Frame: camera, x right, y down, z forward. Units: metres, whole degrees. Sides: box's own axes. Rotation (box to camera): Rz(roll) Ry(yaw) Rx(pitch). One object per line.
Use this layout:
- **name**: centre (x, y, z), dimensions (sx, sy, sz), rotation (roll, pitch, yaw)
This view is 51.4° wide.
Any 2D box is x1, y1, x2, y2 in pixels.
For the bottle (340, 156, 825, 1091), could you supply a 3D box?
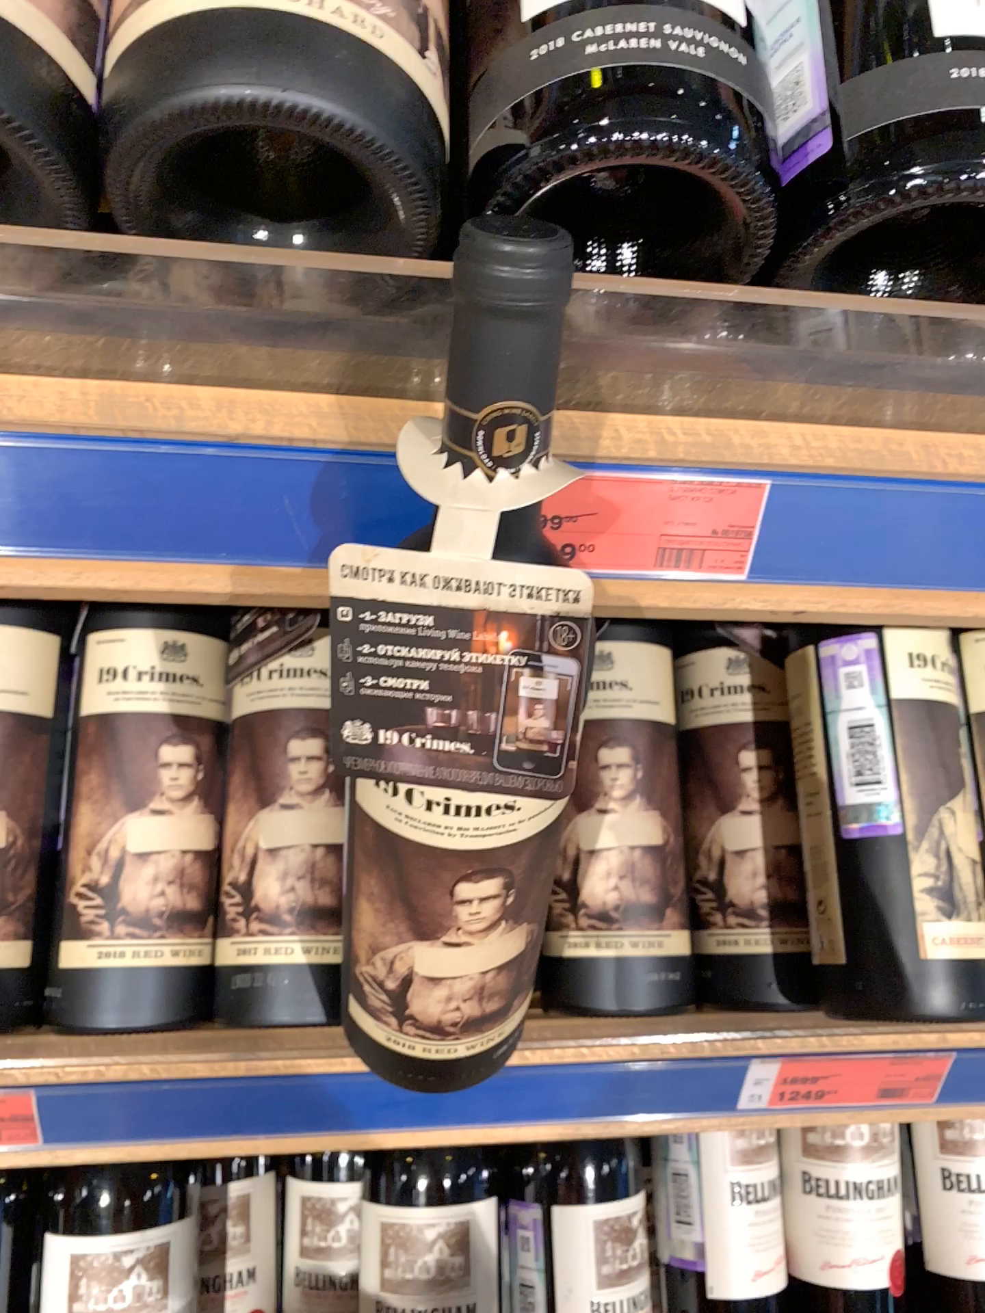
- **bottle**: centre (0.002, 0.017, 0.326), dimensions (0.086, 0.299, 0.082), rotation (6, 37, -4)
